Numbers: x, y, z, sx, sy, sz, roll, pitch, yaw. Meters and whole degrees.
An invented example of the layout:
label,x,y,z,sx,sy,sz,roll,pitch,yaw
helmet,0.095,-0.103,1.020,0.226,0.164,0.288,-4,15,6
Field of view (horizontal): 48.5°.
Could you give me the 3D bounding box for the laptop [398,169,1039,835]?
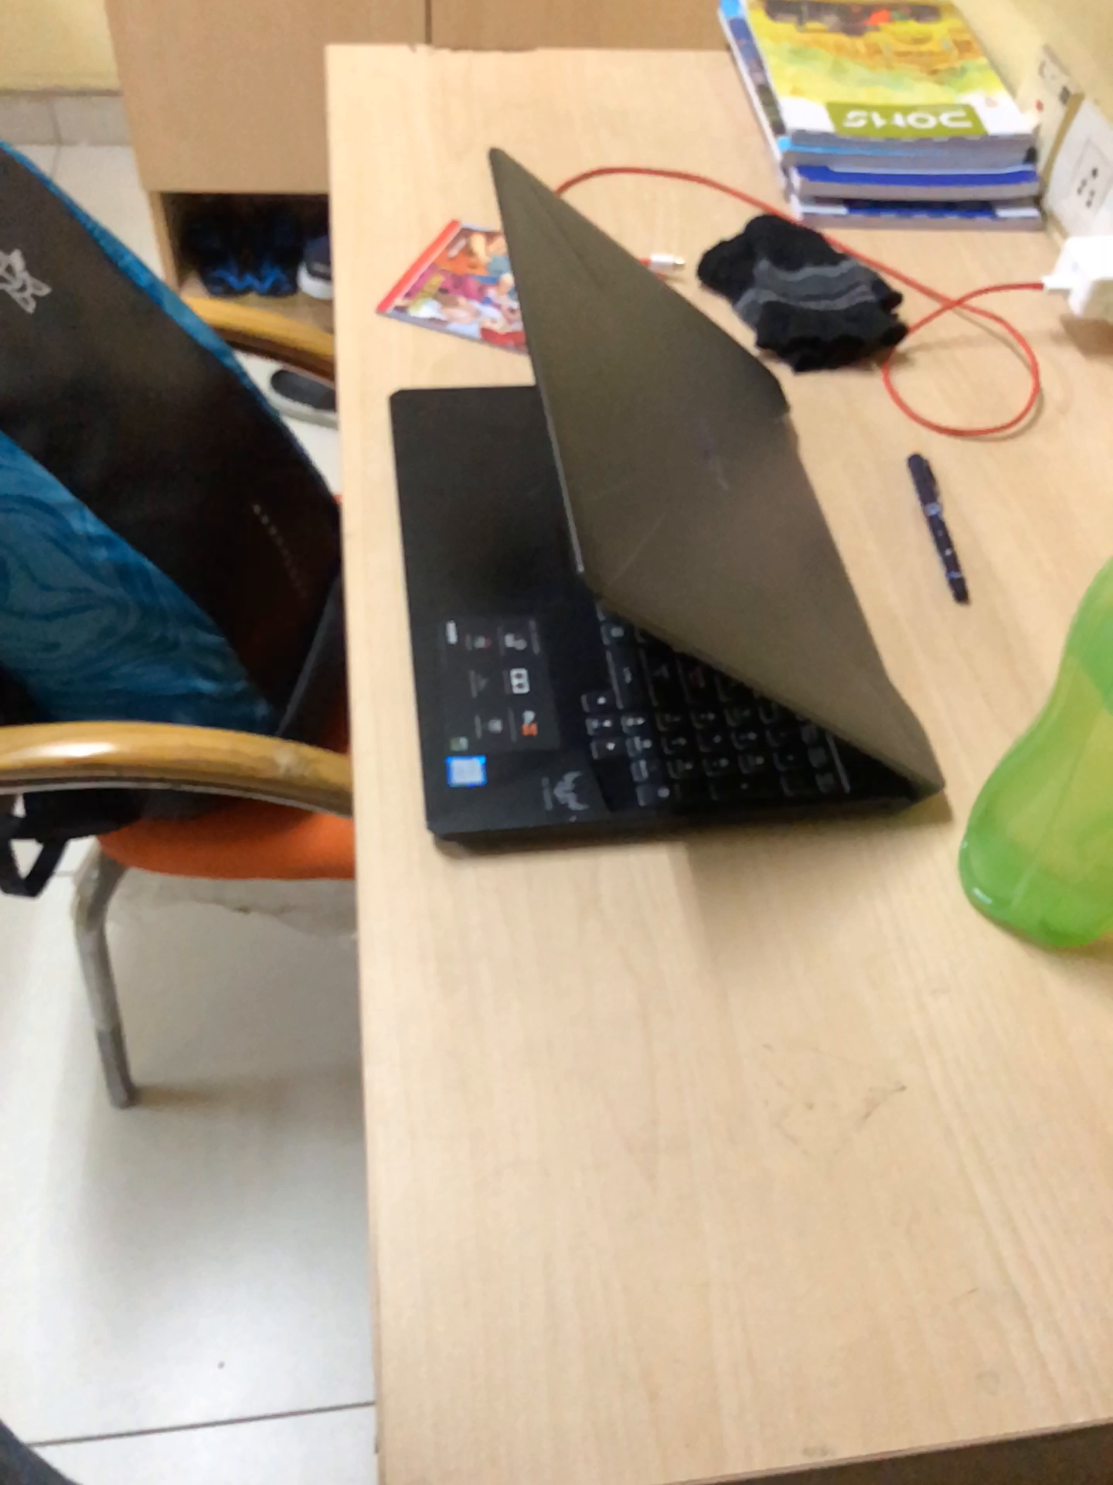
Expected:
label,x,y,z,sx,sy,sz,roll,pitch,yaw
laptop,0.050,-0.145,0.660,0.248,0.147,0.340,-5,51,-6
